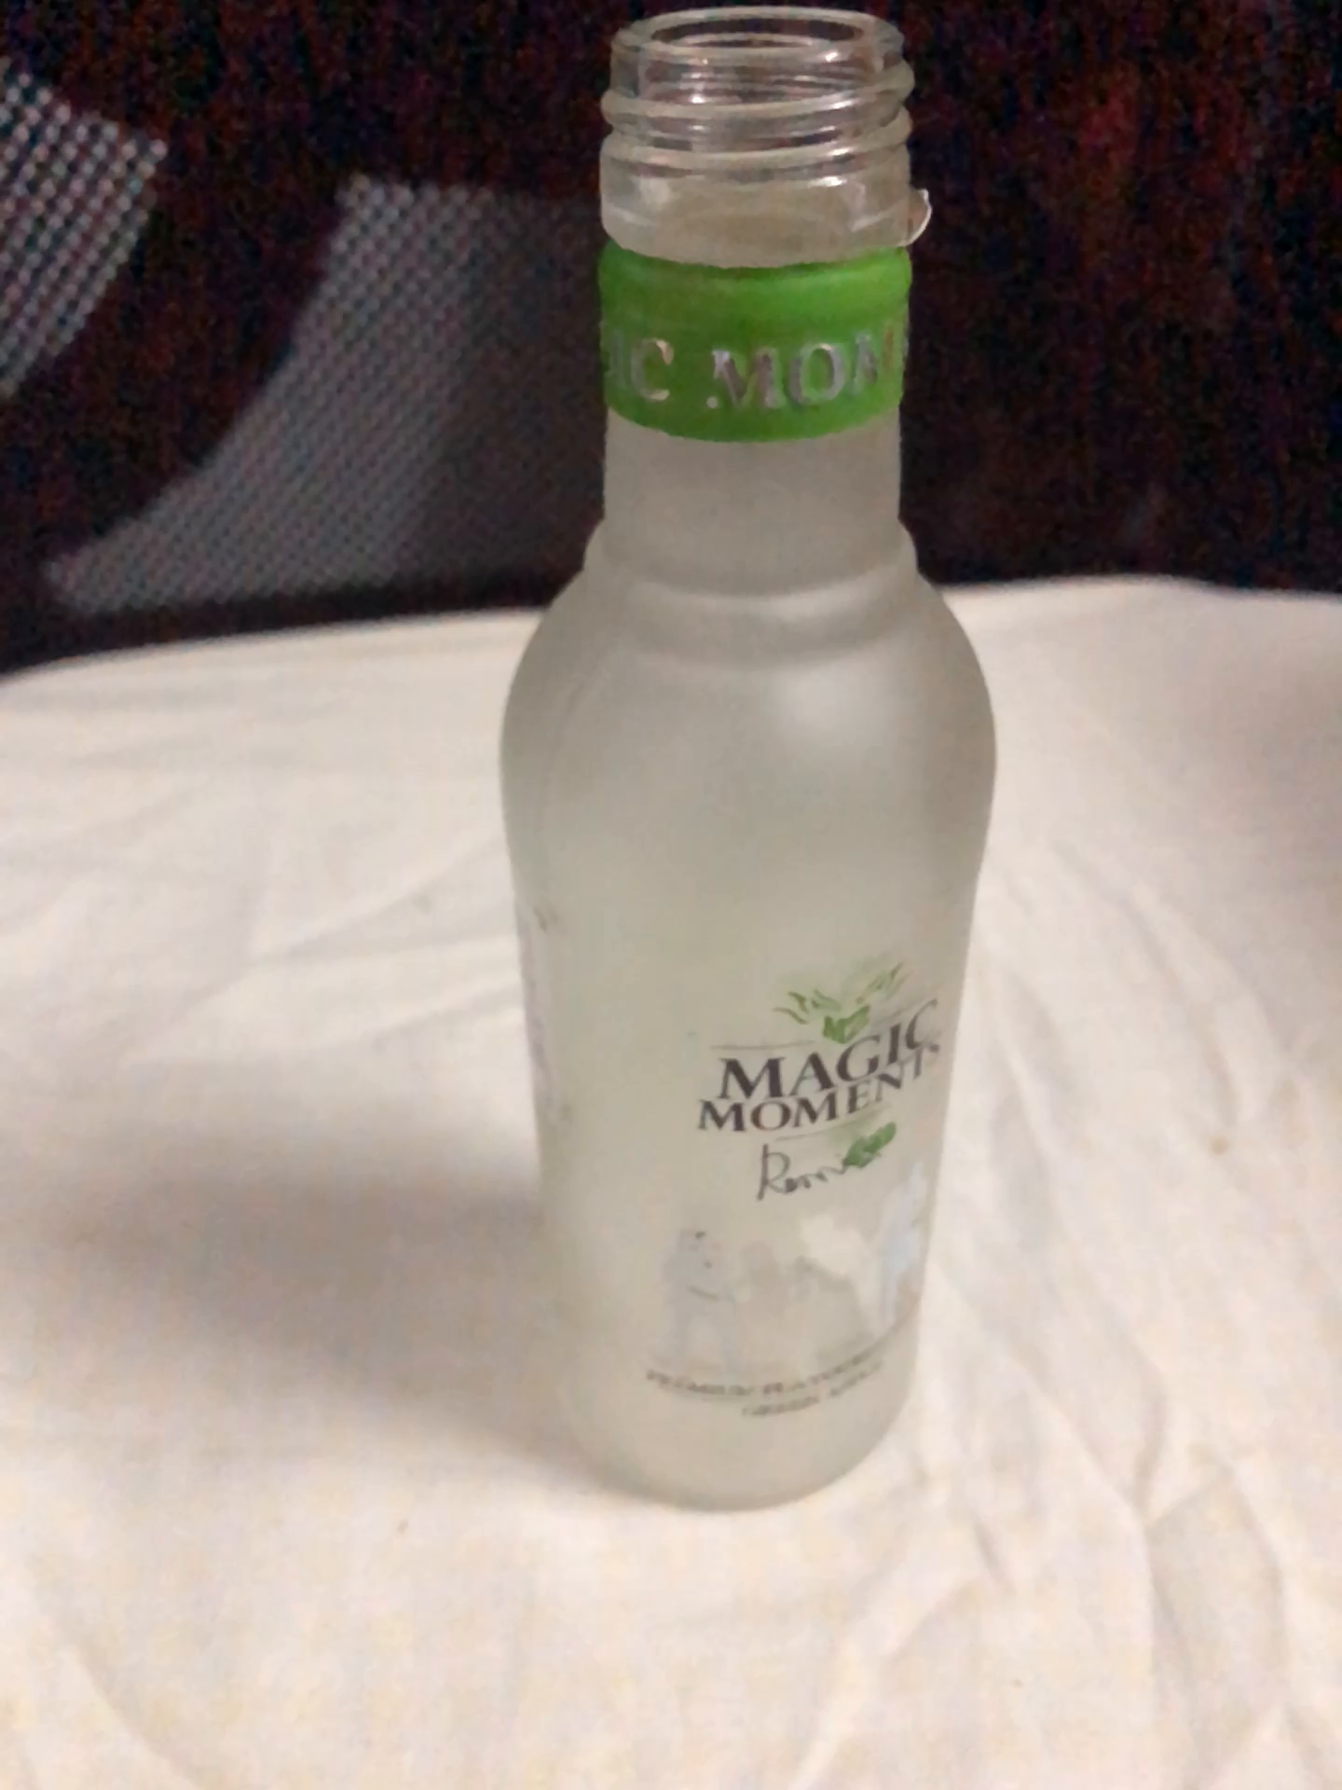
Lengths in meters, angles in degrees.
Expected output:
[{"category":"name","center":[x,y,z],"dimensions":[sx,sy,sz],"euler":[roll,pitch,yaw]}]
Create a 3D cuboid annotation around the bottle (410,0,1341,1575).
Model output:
[{"category":"bottle","center":[0.013,0.000,0.168],"dimensions":[0.060,0.169,0.050],"euler":[-10,40,-14]}]
